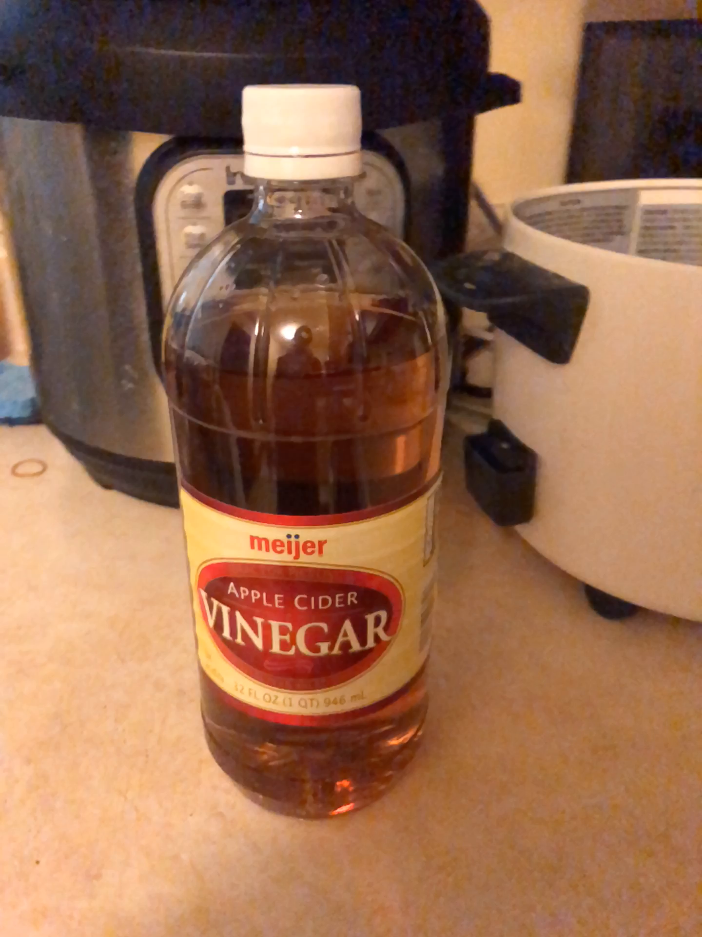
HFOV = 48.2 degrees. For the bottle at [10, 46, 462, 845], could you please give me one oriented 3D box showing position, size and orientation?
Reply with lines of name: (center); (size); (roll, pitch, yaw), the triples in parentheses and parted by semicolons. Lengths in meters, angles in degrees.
bottle: (-0.020, -0.001, 0.244); (0.090, 0.229, 0.080); (4, 28, 8)
